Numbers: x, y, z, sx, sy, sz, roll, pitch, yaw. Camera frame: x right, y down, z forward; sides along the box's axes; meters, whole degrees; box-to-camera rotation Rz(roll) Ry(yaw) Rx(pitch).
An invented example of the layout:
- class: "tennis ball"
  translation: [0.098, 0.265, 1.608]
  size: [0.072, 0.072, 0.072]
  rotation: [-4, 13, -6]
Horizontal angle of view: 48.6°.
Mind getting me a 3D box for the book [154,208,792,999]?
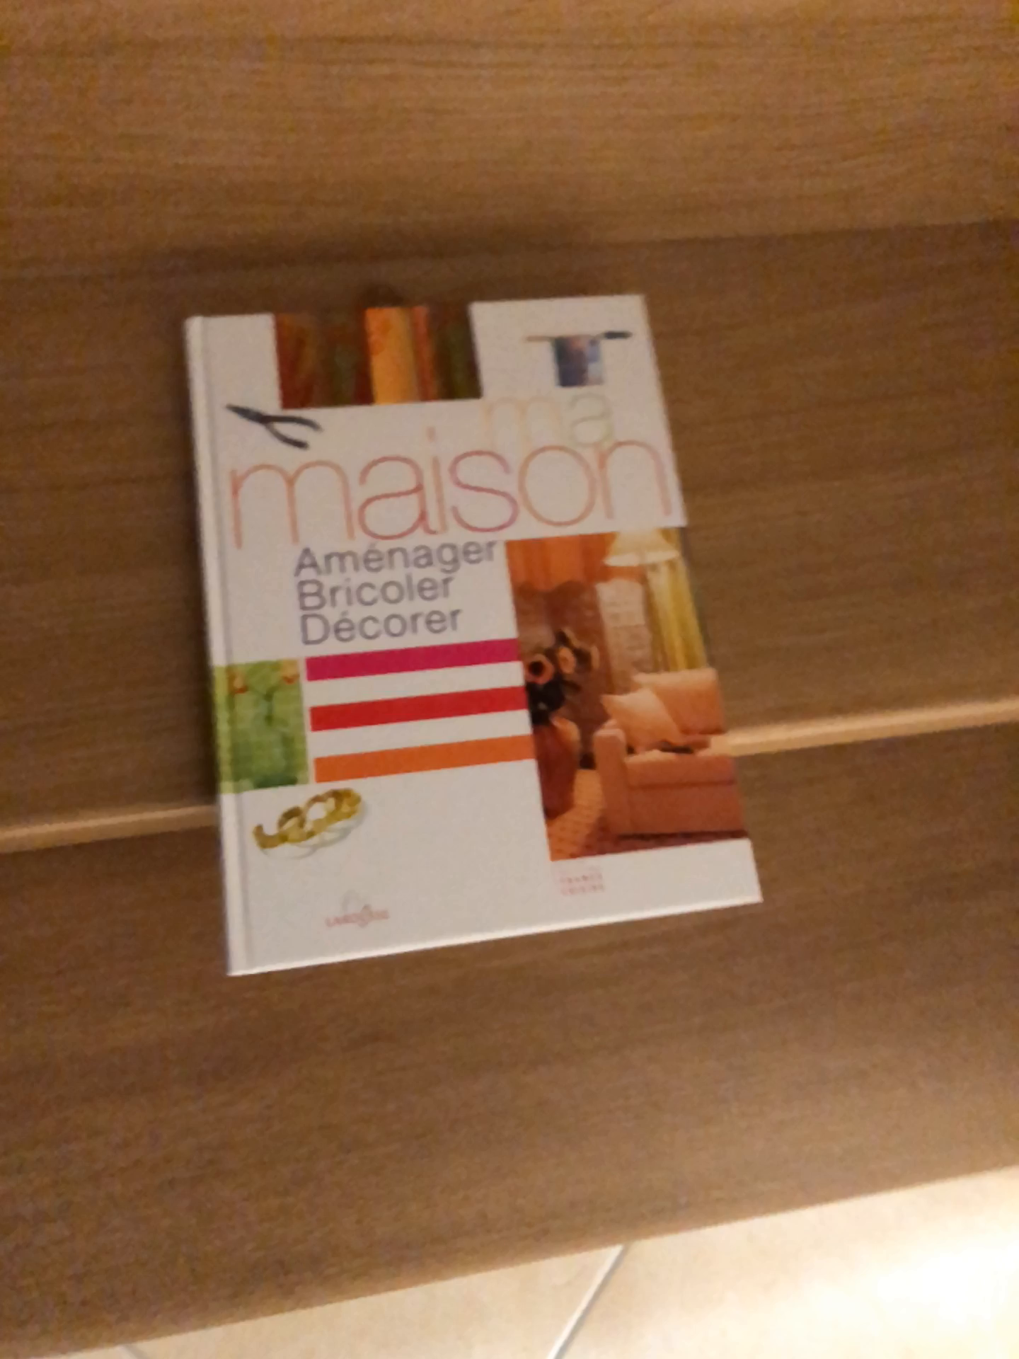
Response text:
- class: "book"
  translation: [-0.023, -0.046, 0.459]
  size: [0.210, 0.030, 0.310]
  rotation: [-7, 74, -9]
